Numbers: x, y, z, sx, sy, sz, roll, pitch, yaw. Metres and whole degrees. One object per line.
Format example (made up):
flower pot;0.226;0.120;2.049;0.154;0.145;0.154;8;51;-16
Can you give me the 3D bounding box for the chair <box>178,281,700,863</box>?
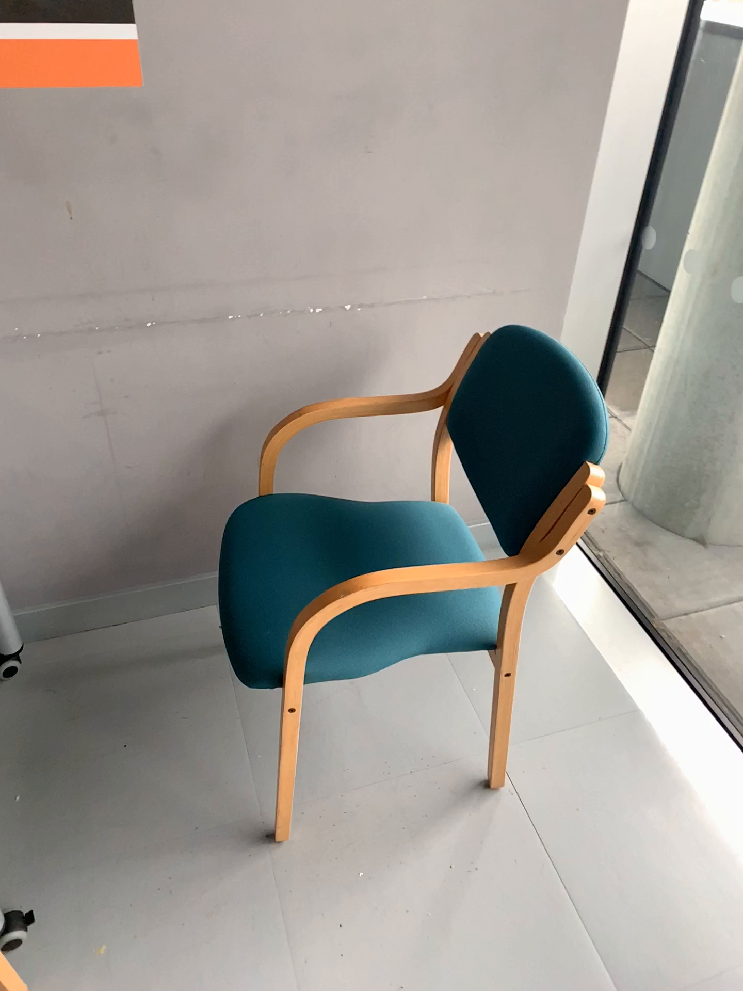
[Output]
chair;0.029;0.094;1.419;0.640;0.723;0.686;-8;38;-14
